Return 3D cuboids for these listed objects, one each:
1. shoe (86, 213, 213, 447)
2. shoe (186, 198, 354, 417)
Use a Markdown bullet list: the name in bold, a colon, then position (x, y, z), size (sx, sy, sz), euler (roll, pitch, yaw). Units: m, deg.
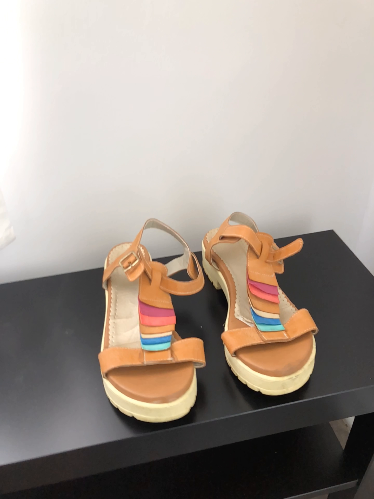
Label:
- **shoe**: position (-0.048, 0.066, 0.451), size (0.100, 0.083, 0.248), euler (-8, 37, -6)
- **shoe**: position (0.070, 0.043, 0.458), size (0.100, 0.077, 0.248), euler (-8, 37, -6)
